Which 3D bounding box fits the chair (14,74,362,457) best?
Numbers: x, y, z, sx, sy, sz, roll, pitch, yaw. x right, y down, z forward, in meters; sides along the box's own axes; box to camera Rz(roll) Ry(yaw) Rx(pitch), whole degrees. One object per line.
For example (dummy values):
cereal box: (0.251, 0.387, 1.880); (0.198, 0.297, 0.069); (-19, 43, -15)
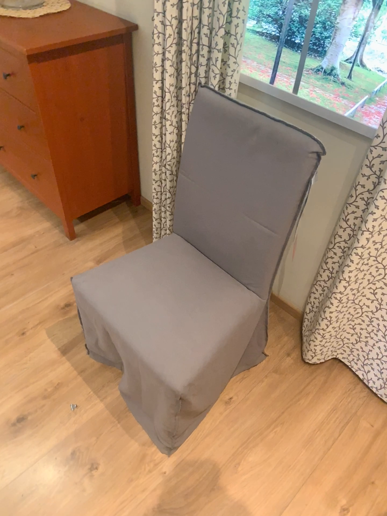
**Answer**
chair: (-0.031, 0.031, 1.234); (0.591, 0.877, 0.571); (-32, 55, -31)
